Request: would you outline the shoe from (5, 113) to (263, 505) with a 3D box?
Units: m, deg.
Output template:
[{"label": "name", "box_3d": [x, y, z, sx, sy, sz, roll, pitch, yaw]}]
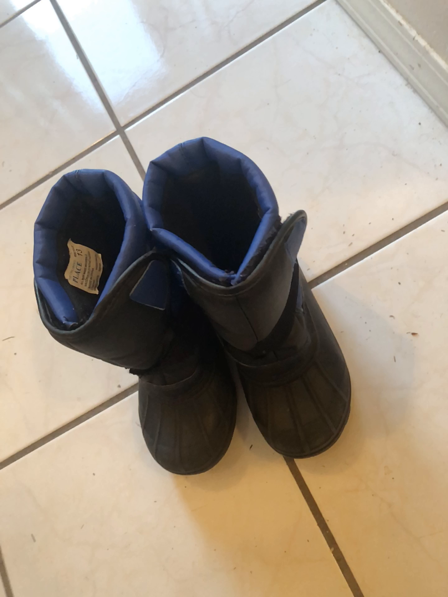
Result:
[{"label": "shoe", "box_3d": [-0.060, 0.024, 0.390, 0.100, 0.199, 0.231, -14, 69, 13]}]

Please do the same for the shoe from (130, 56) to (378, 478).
[{"label": "shoe", "box_3d": [0.032, -0.004, 0.385, 0.100, 0.199, 0.251, -16, 69, 13]}]
